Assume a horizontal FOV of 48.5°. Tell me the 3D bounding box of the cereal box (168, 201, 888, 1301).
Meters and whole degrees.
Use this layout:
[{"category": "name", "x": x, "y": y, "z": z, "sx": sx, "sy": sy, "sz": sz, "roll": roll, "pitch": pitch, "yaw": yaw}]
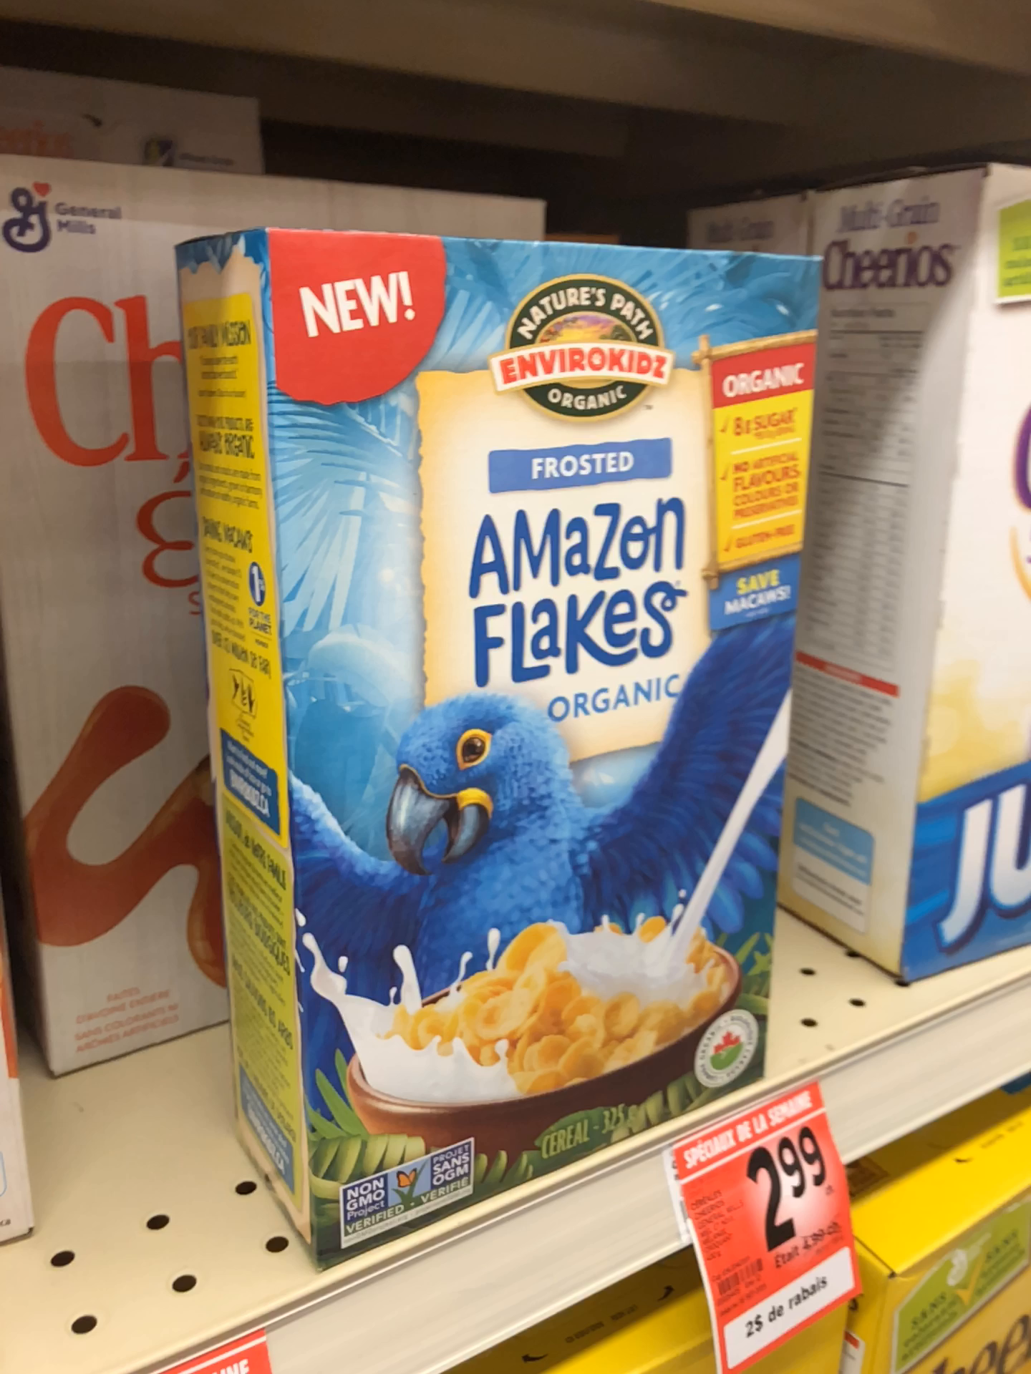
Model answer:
[{"category": "cereal box", "x": 0.008, "y": 0.012, "z": 0.307, "sx": 0.170, "sy": 0.249, "sz": 0.050, "roll": -10, "pitch": 20, "yaw": -31}]
